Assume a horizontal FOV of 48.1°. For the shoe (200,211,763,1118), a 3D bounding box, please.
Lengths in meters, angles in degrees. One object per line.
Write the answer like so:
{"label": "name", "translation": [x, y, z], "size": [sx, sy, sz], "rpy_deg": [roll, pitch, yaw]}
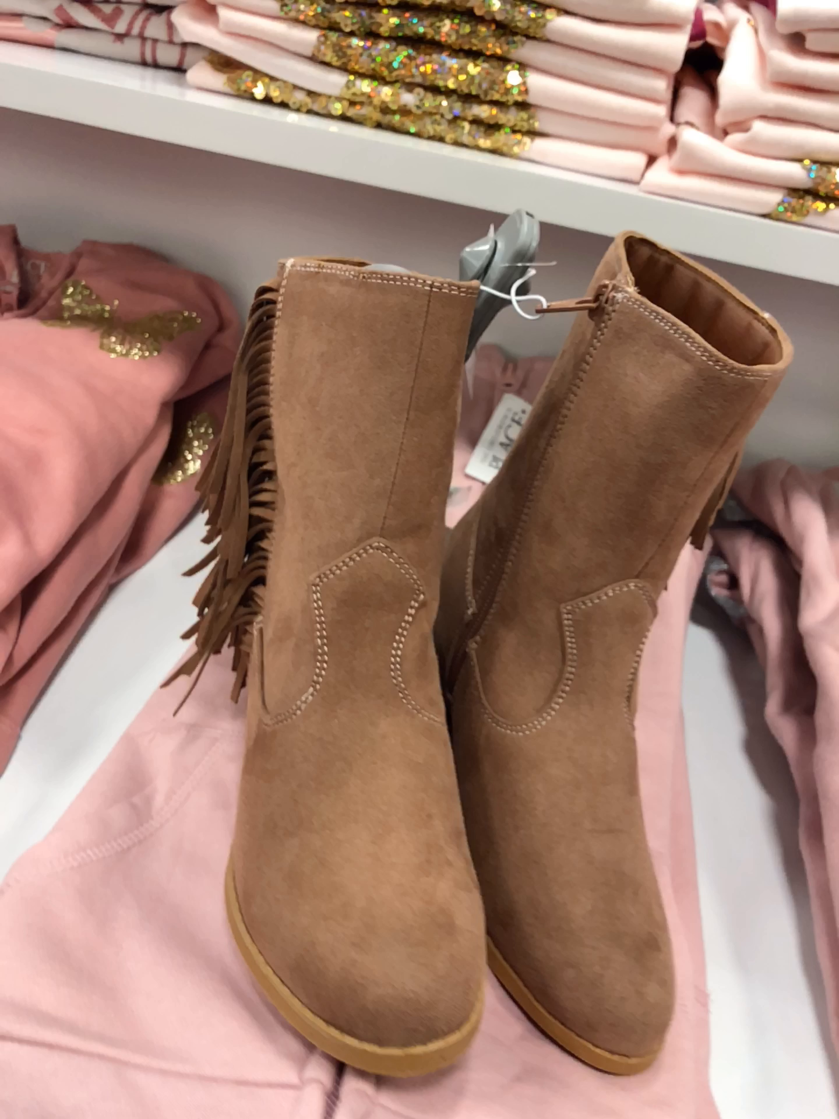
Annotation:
{"label": "shoe", "translation": [-0.017, 0.019, 0.290], "size": [0.092, 0.199, 0.201], "rpy_deg": [1, 28, -14]}

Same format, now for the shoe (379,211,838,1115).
{"label": "shoe", "translation": [0.061, 0.020, 0.314], "size": [0.092, 0.199, 0.211], "rpy_deg": [1, 35, -14]}
